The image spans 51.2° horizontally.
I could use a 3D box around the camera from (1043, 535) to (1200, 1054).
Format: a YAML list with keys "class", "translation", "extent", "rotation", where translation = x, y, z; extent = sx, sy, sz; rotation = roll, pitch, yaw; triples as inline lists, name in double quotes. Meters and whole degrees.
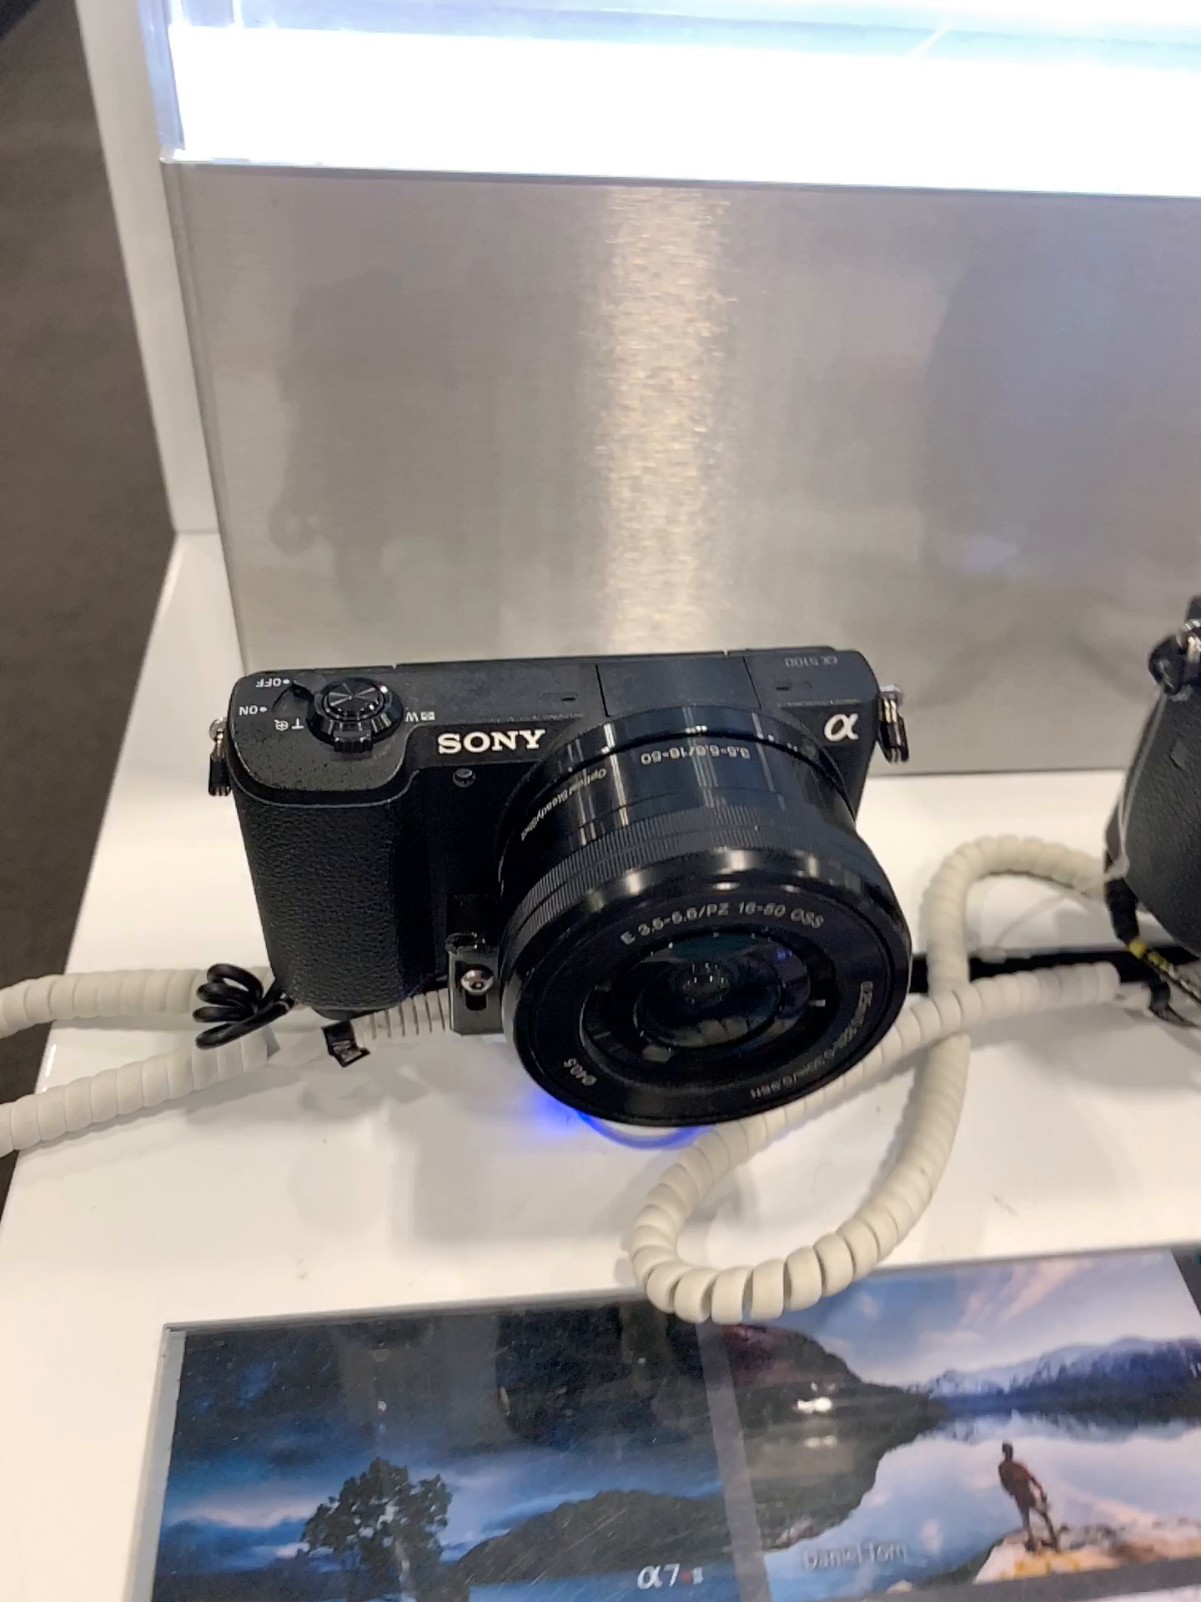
- class: "camera"
  translation: [0.166, -0.002, 0.226]
  extent: [0.136, 0.060, 0.071]
  rotation: [0, 39, -5]

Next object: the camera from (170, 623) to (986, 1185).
- class: "camera"
  translation: [-0.007, 0.015, 0.215]
  extent: [0.112, 0.060, 0.066]
  rotation: [-3, 44, -8]
